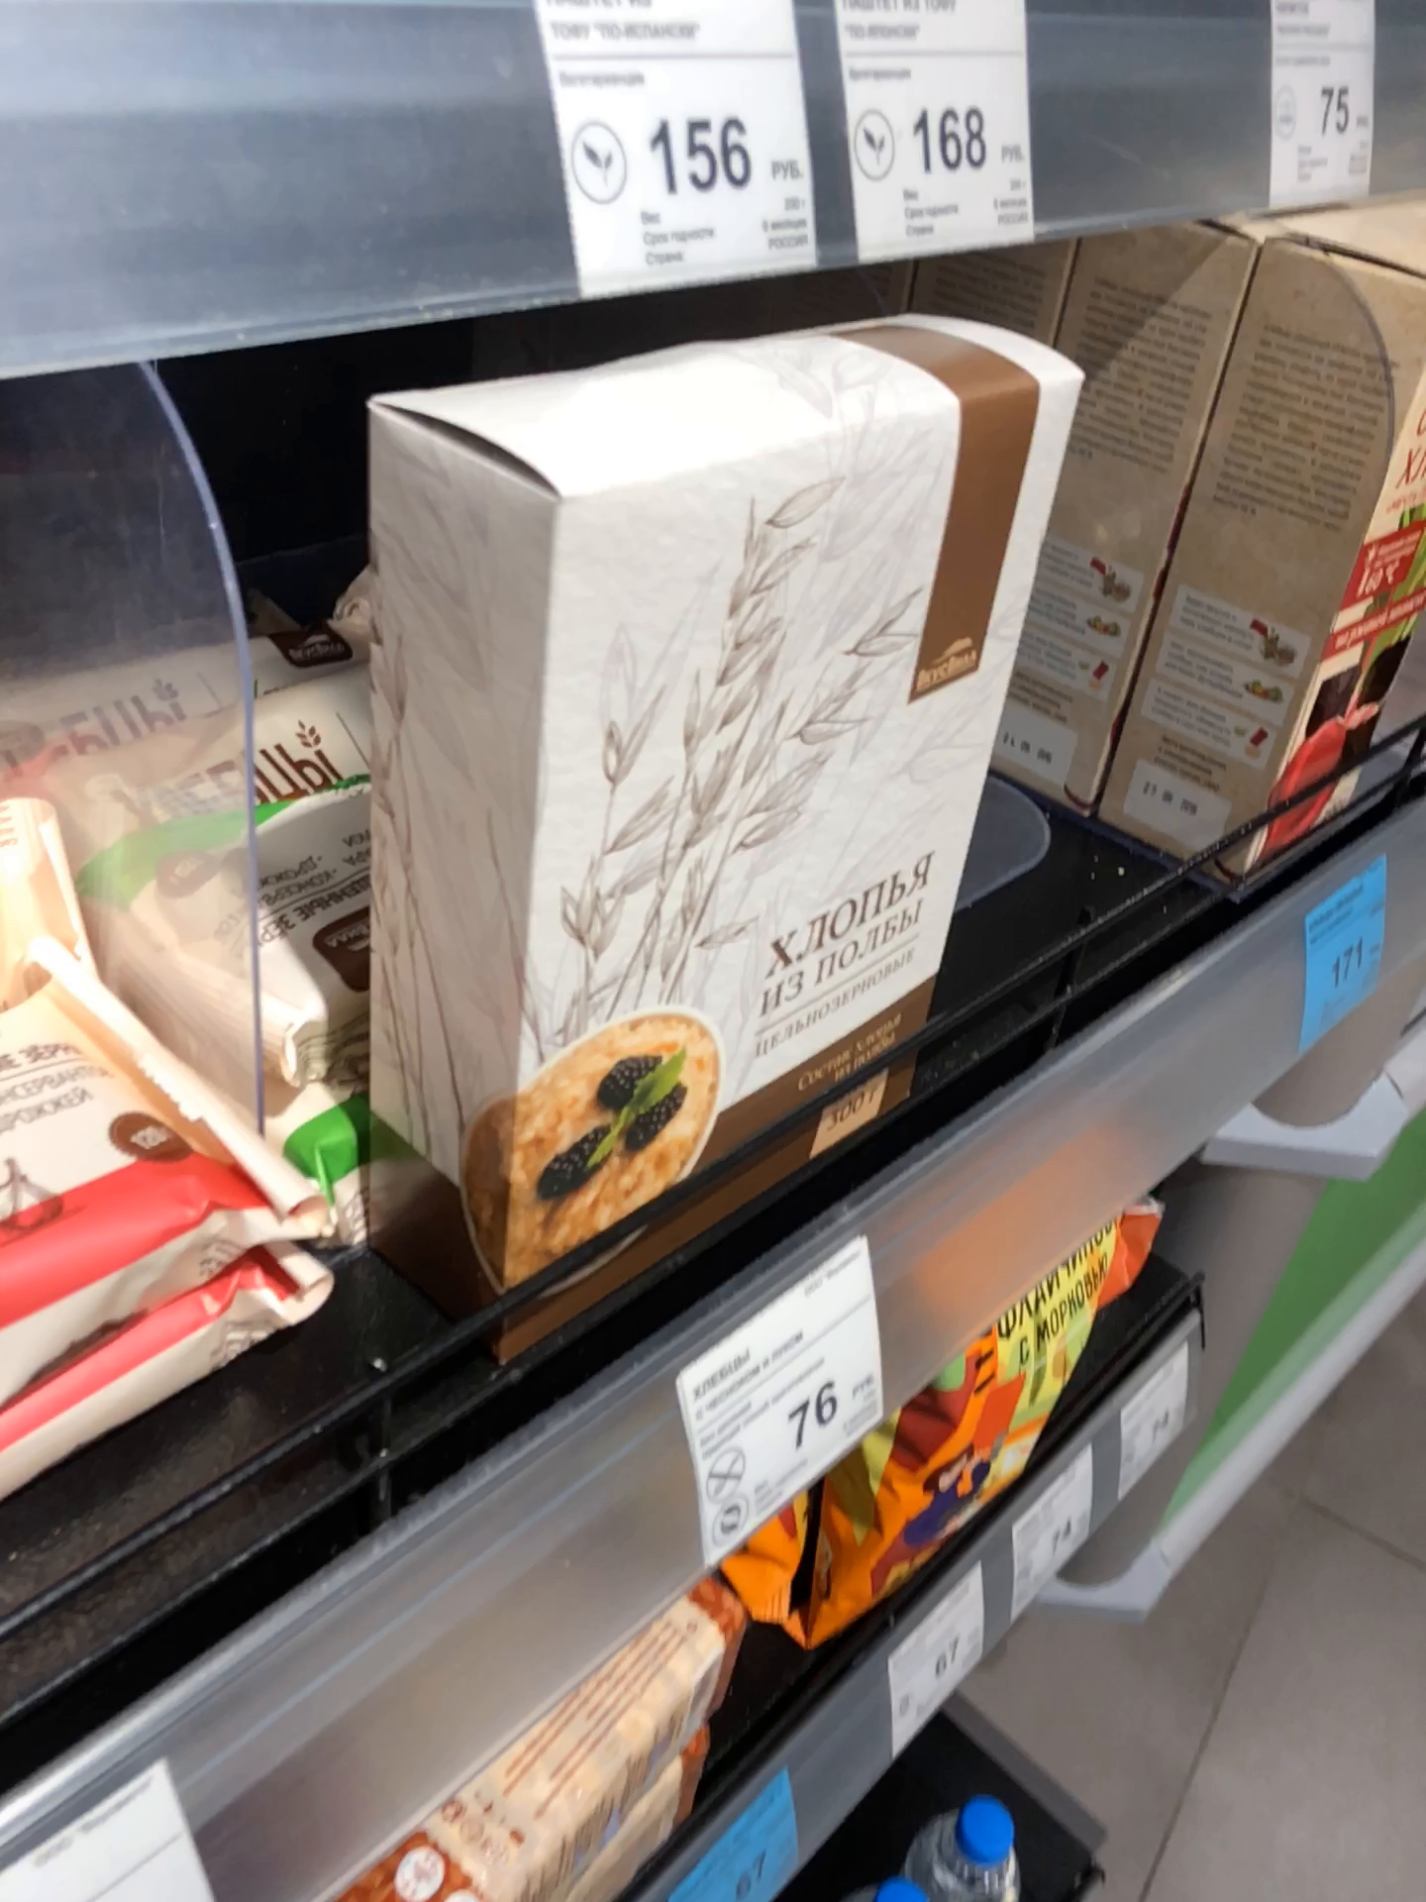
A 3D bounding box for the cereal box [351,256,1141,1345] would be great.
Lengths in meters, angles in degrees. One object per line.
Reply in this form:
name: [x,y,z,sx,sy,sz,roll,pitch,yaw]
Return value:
cereal box: [0.004,-0.034,0.328,0.050,0.189,0.151,33,42,32]
